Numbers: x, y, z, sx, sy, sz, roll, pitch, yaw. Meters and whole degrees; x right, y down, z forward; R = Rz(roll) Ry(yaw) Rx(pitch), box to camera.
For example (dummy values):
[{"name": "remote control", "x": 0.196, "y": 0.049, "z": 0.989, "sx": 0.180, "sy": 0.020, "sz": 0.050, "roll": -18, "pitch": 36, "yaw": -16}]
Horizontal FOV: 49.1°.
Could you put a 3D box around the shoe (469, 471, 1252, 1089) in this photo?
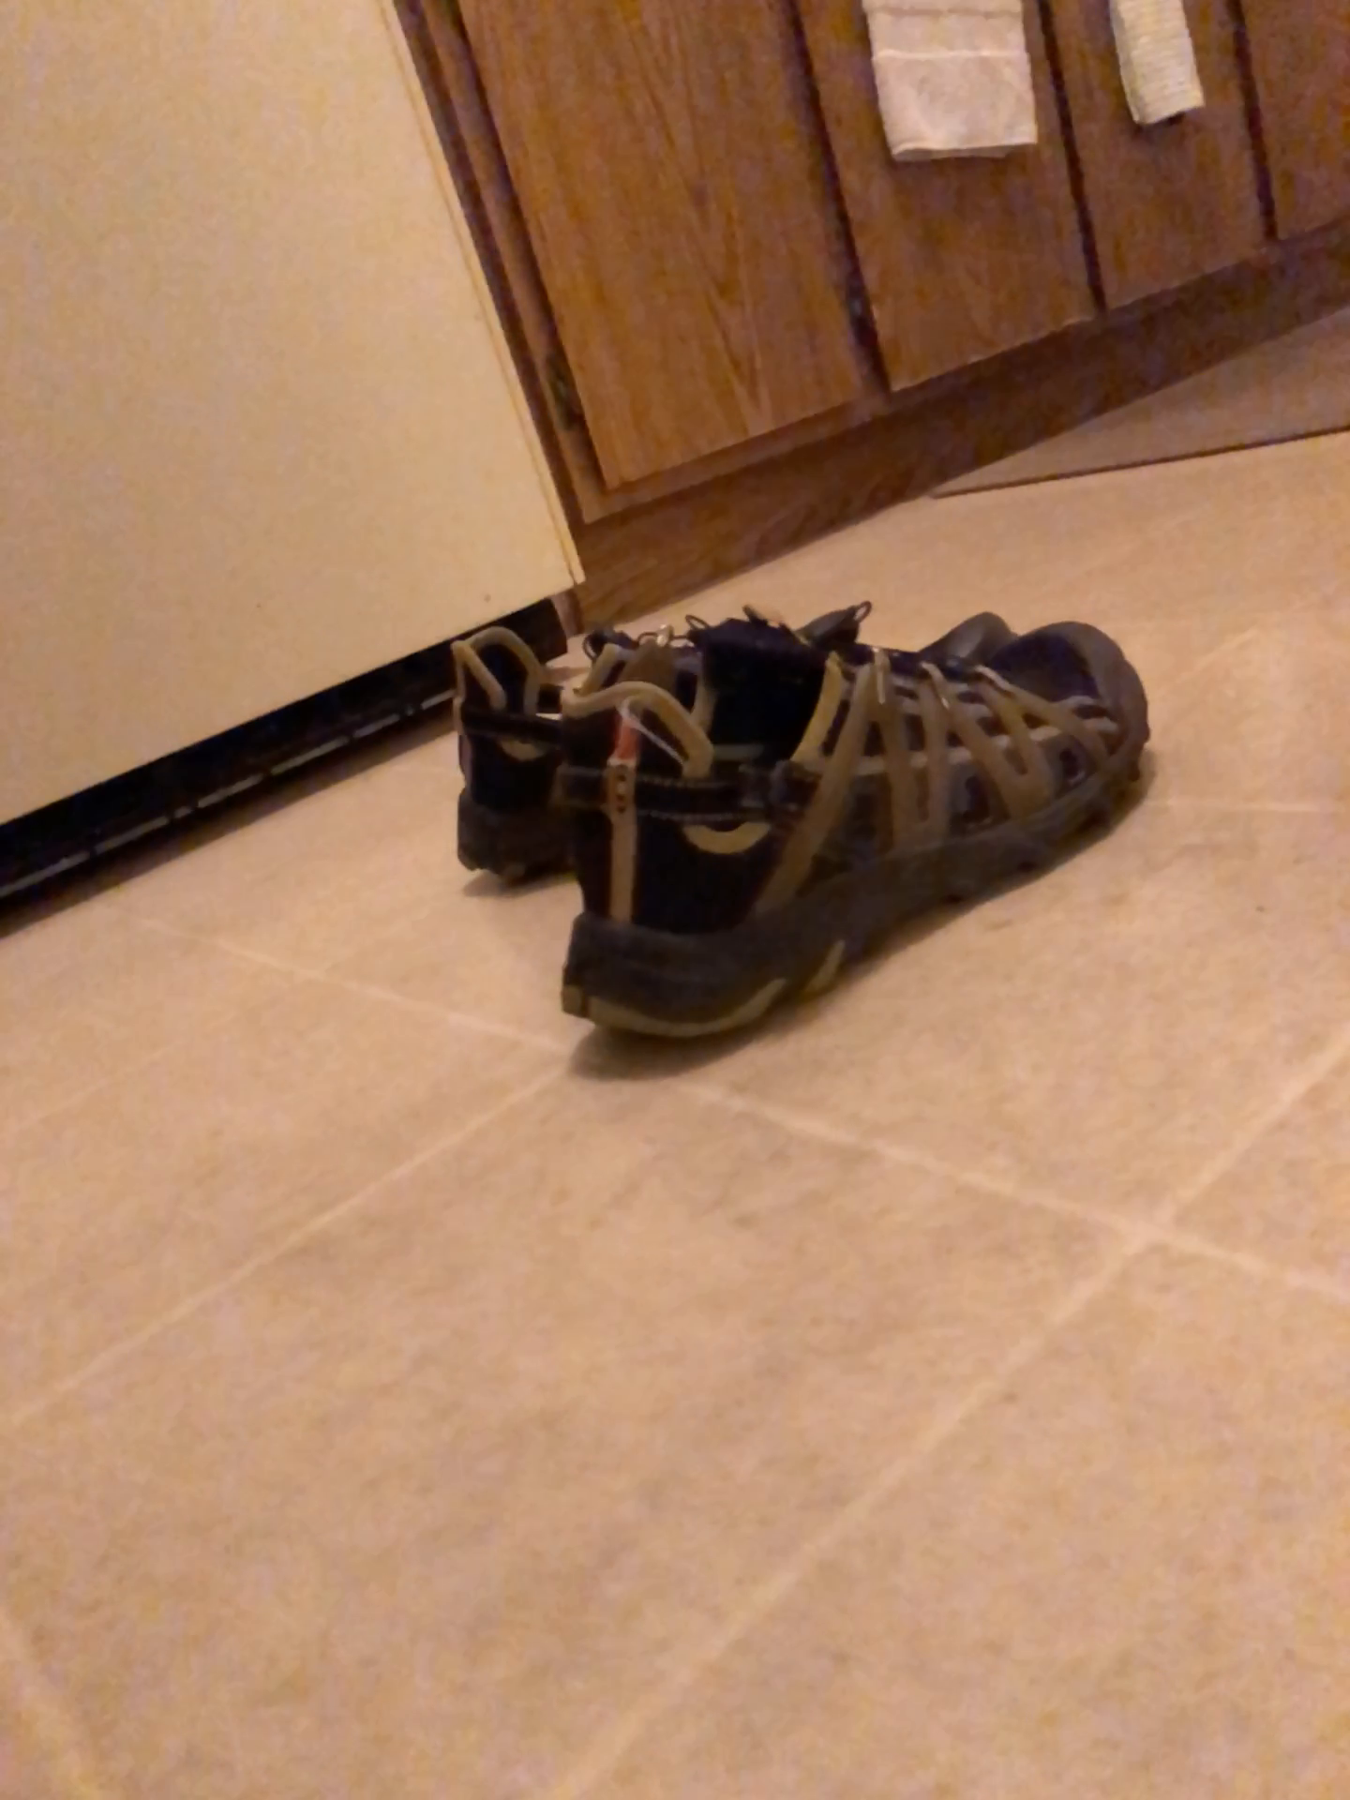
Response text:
[{"name": "shoe", "x": 0.084, "y": -0.058, "z": 0.555, "sx": 0.287, "sy": 0.111, "sz": 0.109, "roll": -31, "pitch": 22, "yaw": -33}]

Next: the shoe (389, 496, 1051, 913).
[{"name": "shoe", "x": 0.024, "y": -0.093, "z": 0.707, "sx": 0.279, "sy": 0.109, "sz": 0.100, "roll": -13, "pitch": 19, "yaw": 15}]
